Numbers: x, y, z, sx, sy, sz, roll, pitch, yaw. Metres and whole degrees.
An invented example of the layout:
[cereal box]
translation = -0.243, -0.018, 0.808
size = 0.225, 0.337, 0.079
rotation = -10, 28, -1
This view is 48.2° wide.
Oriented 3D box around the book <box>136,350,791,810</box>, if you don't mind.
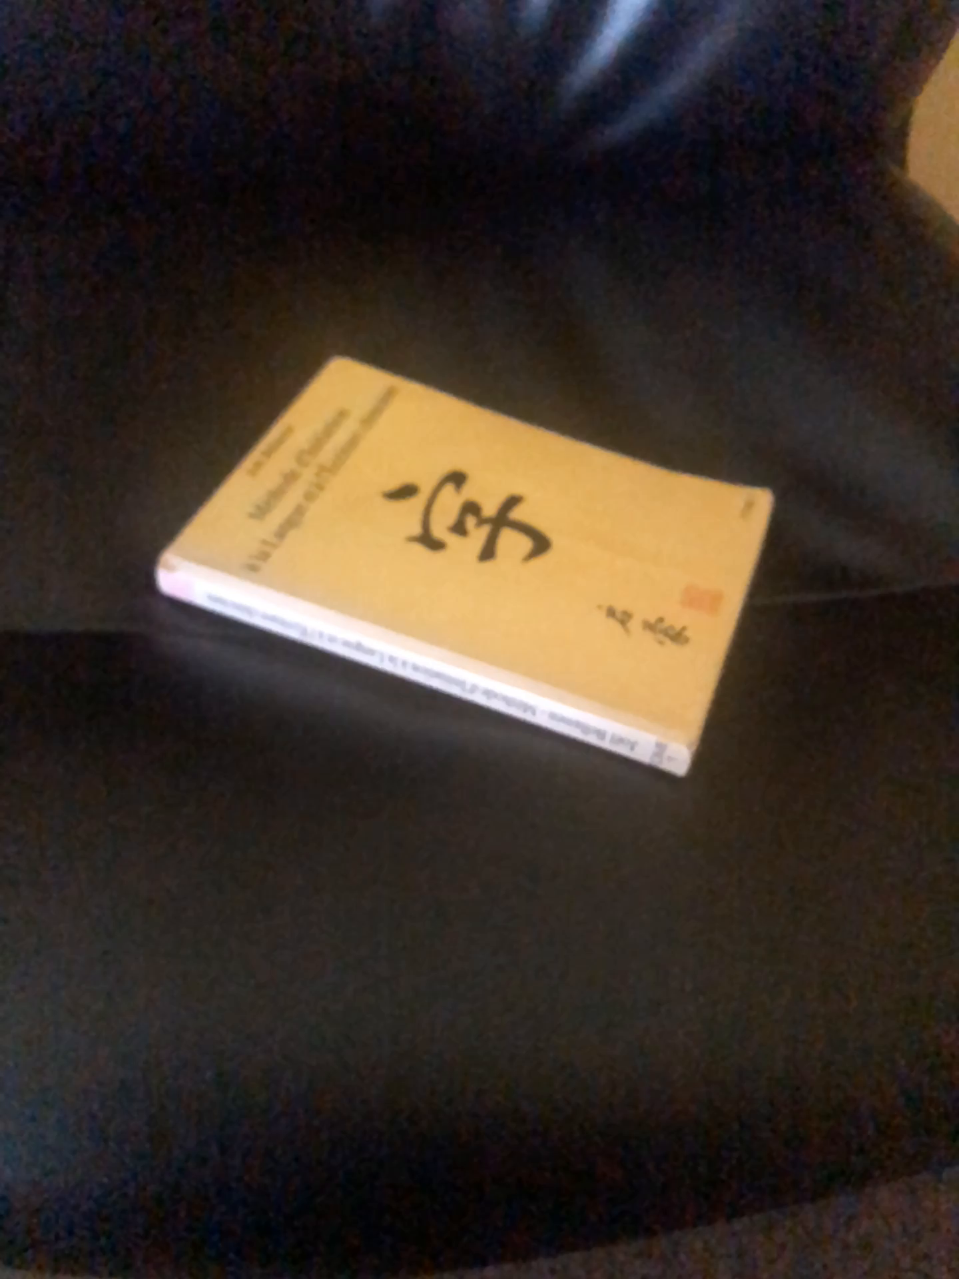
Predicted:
[book]
translation = -0.001, -0.037, 0.441
size = 0.220, 0.028, 0.153
rotation = 19, 52, 13
